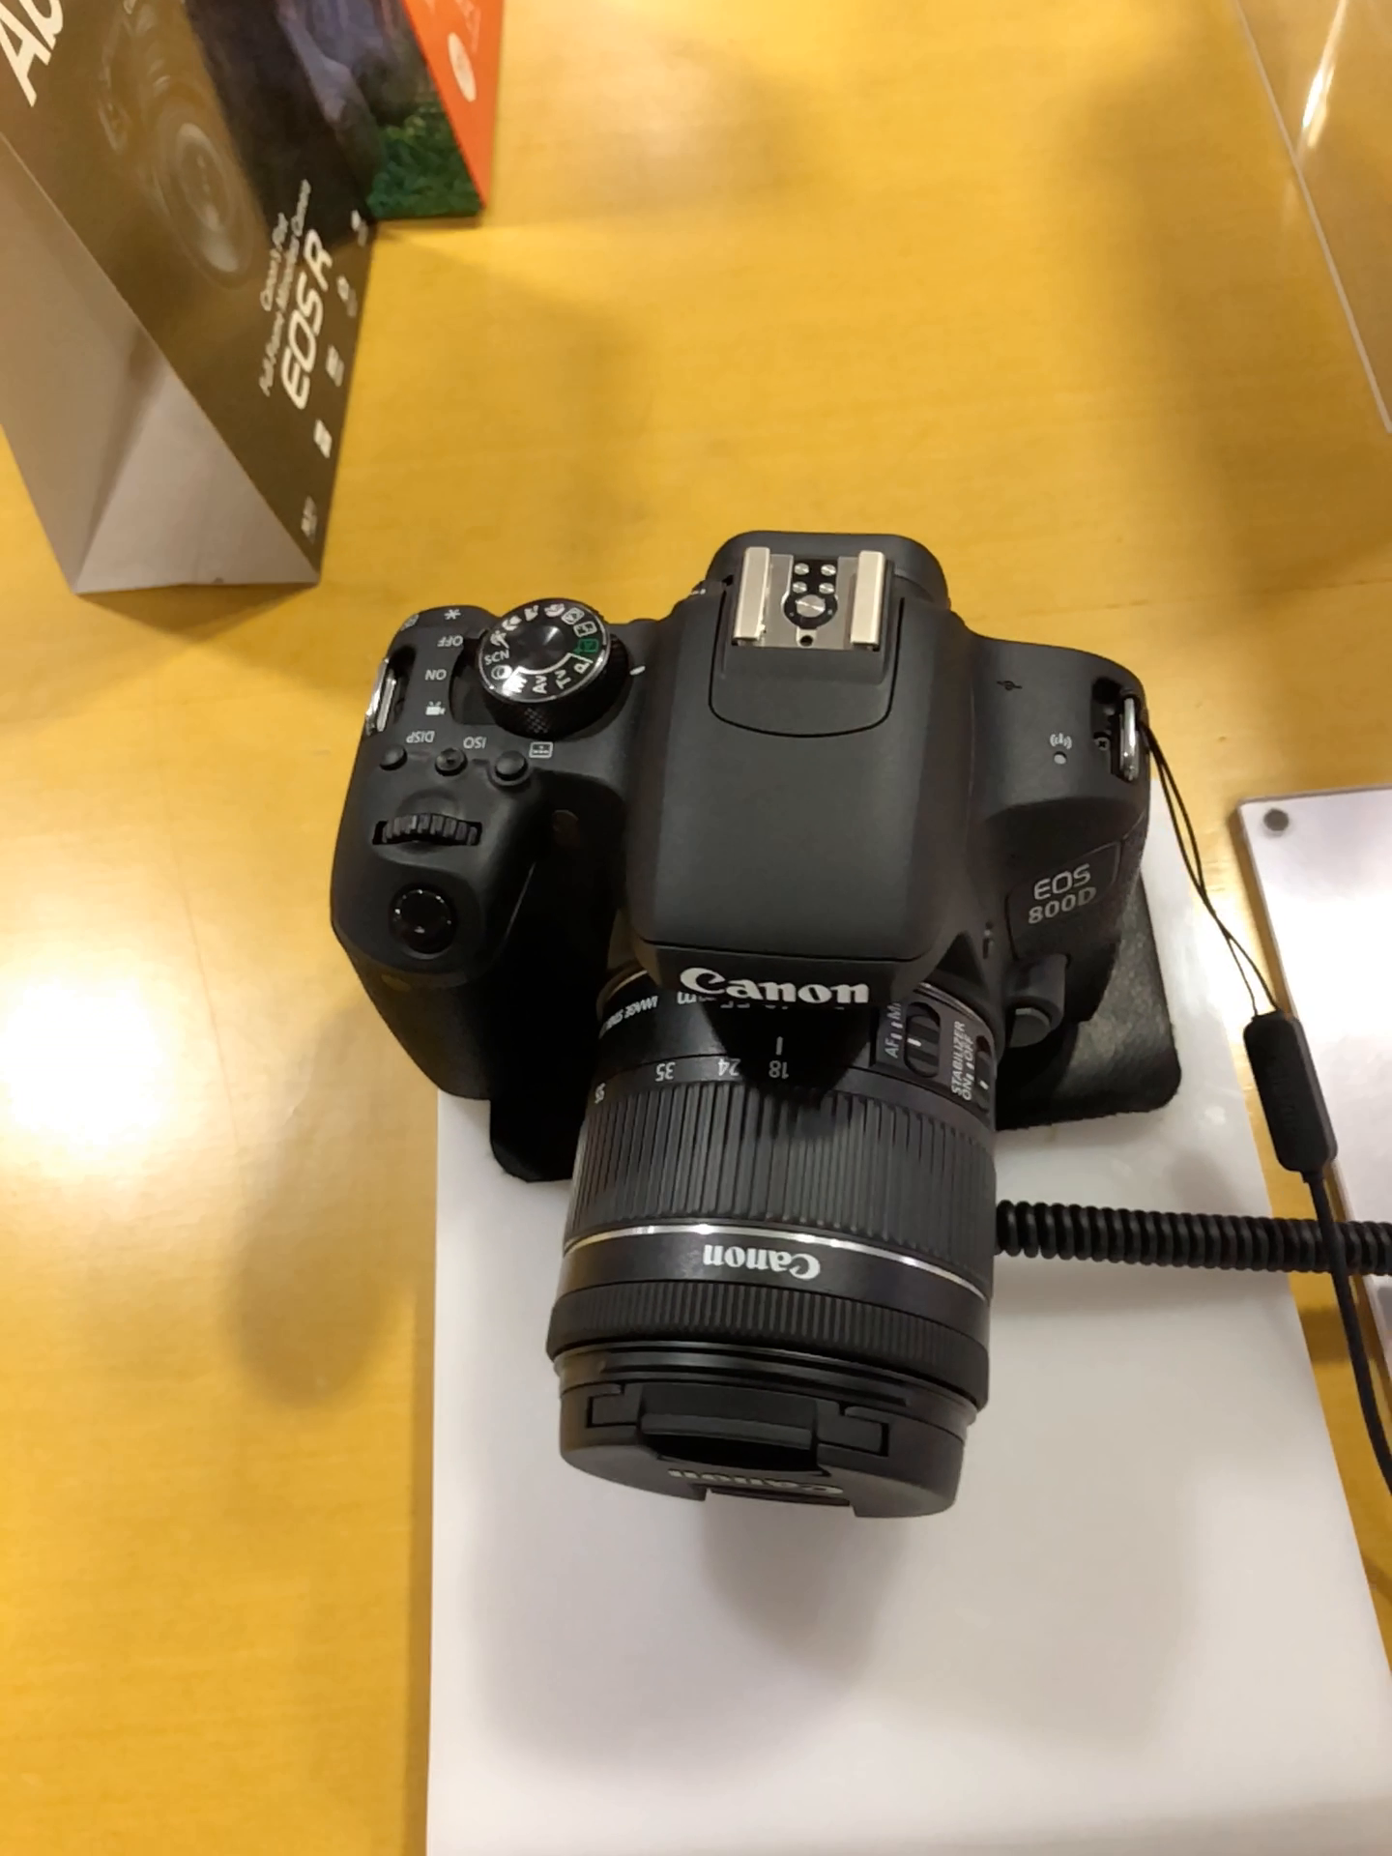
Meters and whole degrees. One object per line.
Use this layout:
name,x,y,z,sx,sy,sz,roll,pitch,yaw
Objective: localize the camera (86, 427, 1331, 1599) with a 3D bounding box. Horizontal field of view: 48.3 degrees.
camera,0.009,0.013,0.217,0.120,0.090,0.130,4,63,7
